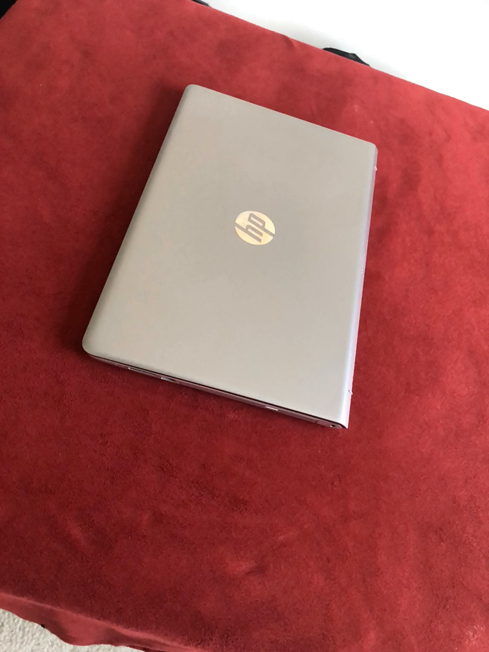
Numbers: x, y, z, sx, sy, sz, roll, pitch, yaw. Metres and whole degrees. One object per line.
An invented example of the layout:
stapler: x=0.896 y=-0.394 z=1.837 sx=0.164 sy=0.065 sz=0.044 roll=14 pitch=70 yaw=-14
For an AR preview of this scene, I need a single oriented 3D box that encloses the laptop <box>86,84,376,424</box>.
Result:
laptop: x=0.012 y=-0.102 z=0.570 sx=0.233 sy=0.006 sz=0.373 roll=16 pitch=60 yaw=-4
